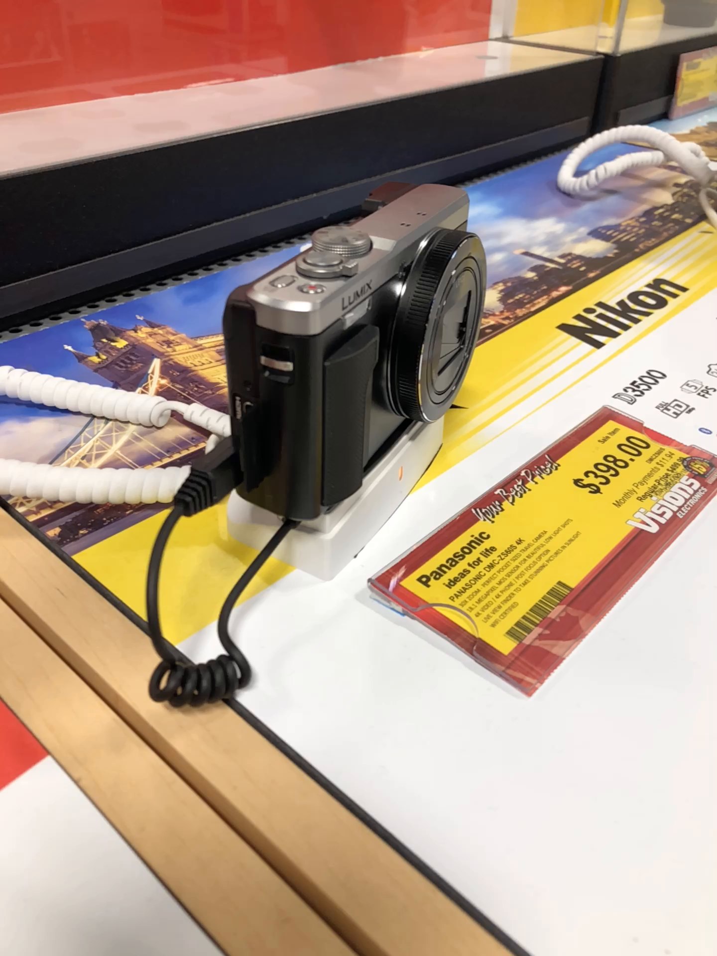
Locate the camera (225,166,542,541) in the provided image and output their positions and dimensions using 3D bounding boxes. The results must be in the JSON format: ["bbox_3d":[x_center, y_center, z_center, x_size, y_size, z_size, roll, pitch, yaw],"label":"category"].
[{"bbox_3d":[0.014,-0.045,0.235,0.040,0.060,0.121,17,39,21],"label":"camera"}]
